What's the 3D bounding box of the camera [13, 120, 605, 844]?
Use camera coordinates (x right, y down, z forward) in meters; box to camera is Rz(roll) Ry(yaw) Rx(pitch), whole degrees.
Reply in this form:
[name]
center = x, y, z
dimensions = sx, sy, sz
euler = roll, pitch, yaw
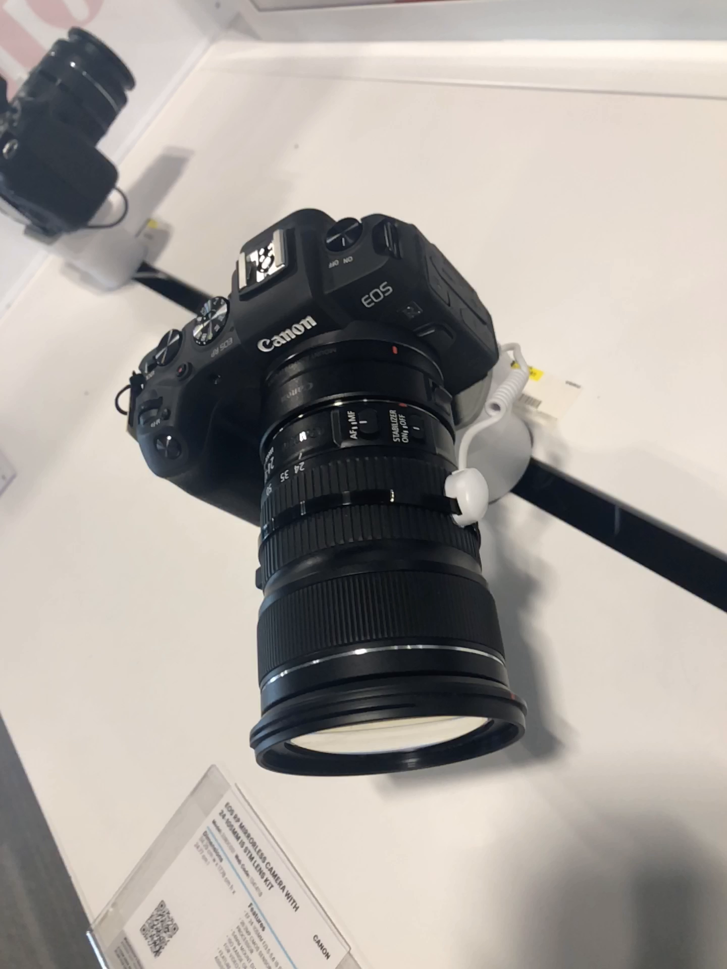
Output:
[camera]
center = -0.023, 0.003, 0.274
dimensions = 0.136, 0.089, 0.191
euler = -25, 52, 26
